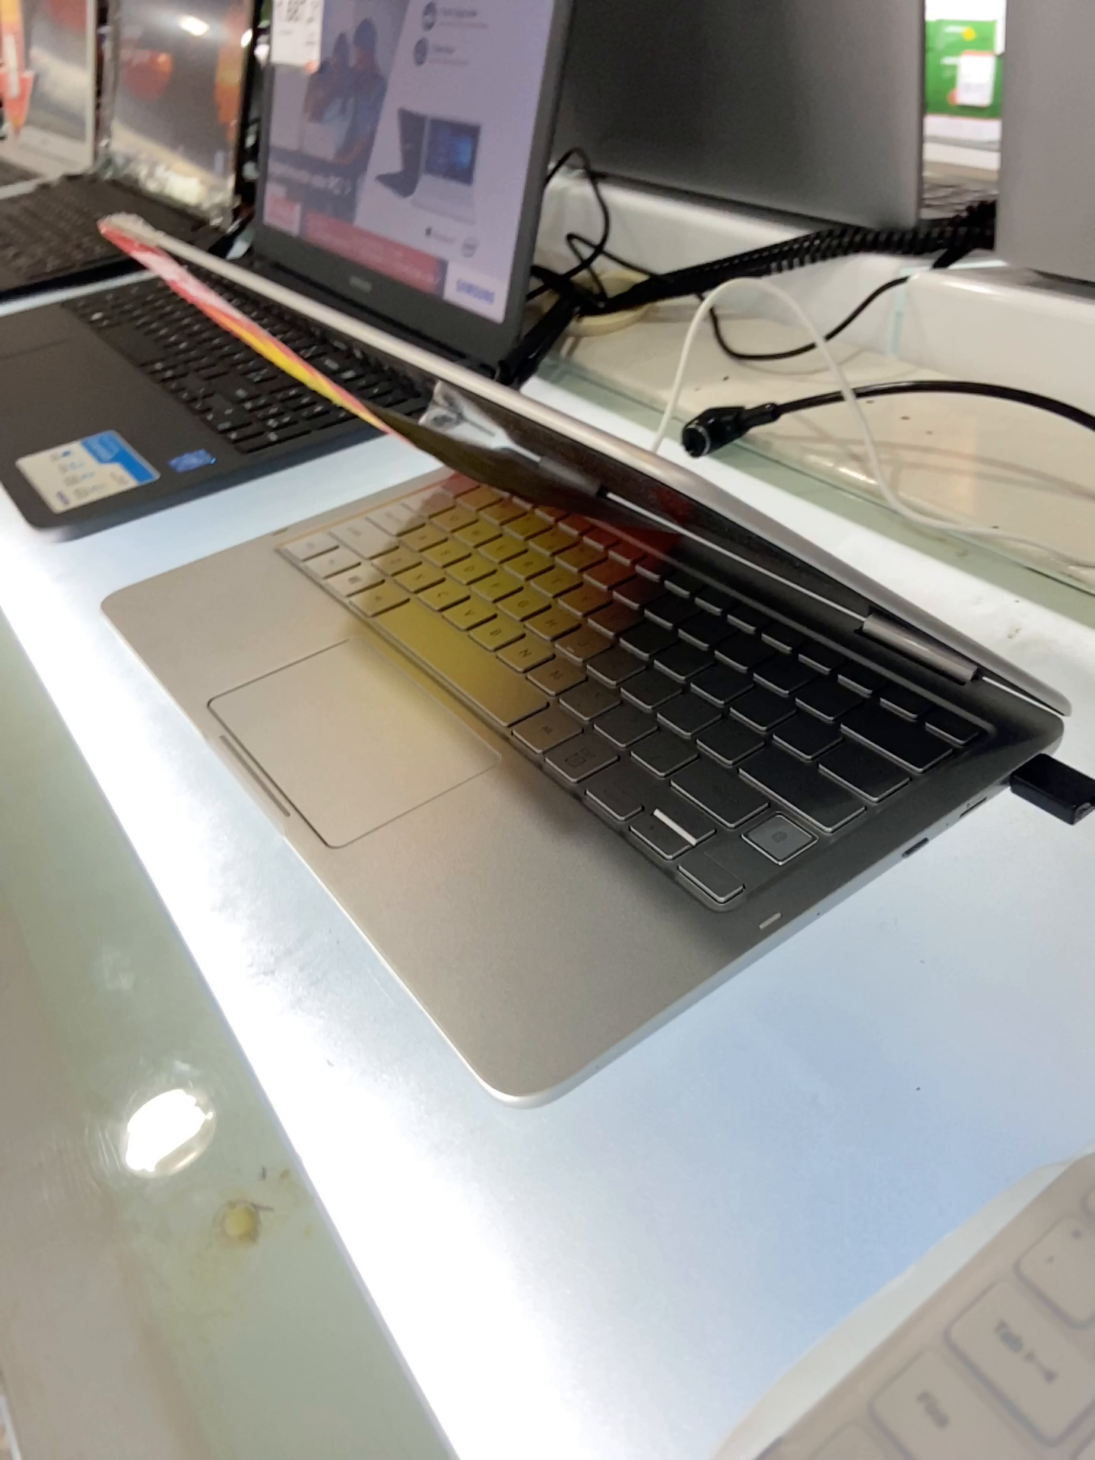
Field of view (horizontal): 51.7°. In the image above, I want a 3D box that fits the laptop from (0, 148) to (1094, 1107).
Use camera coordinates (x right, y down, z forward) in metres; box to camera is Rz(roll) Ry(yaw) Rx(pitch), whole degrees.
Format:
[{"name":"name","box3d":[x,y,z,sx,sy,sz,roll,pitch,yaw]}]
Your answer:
[{"name":"laptop","box3d":[-0.023,-0.079,0.360,0.201,0.132,0.307,-27,41,-24]}]
